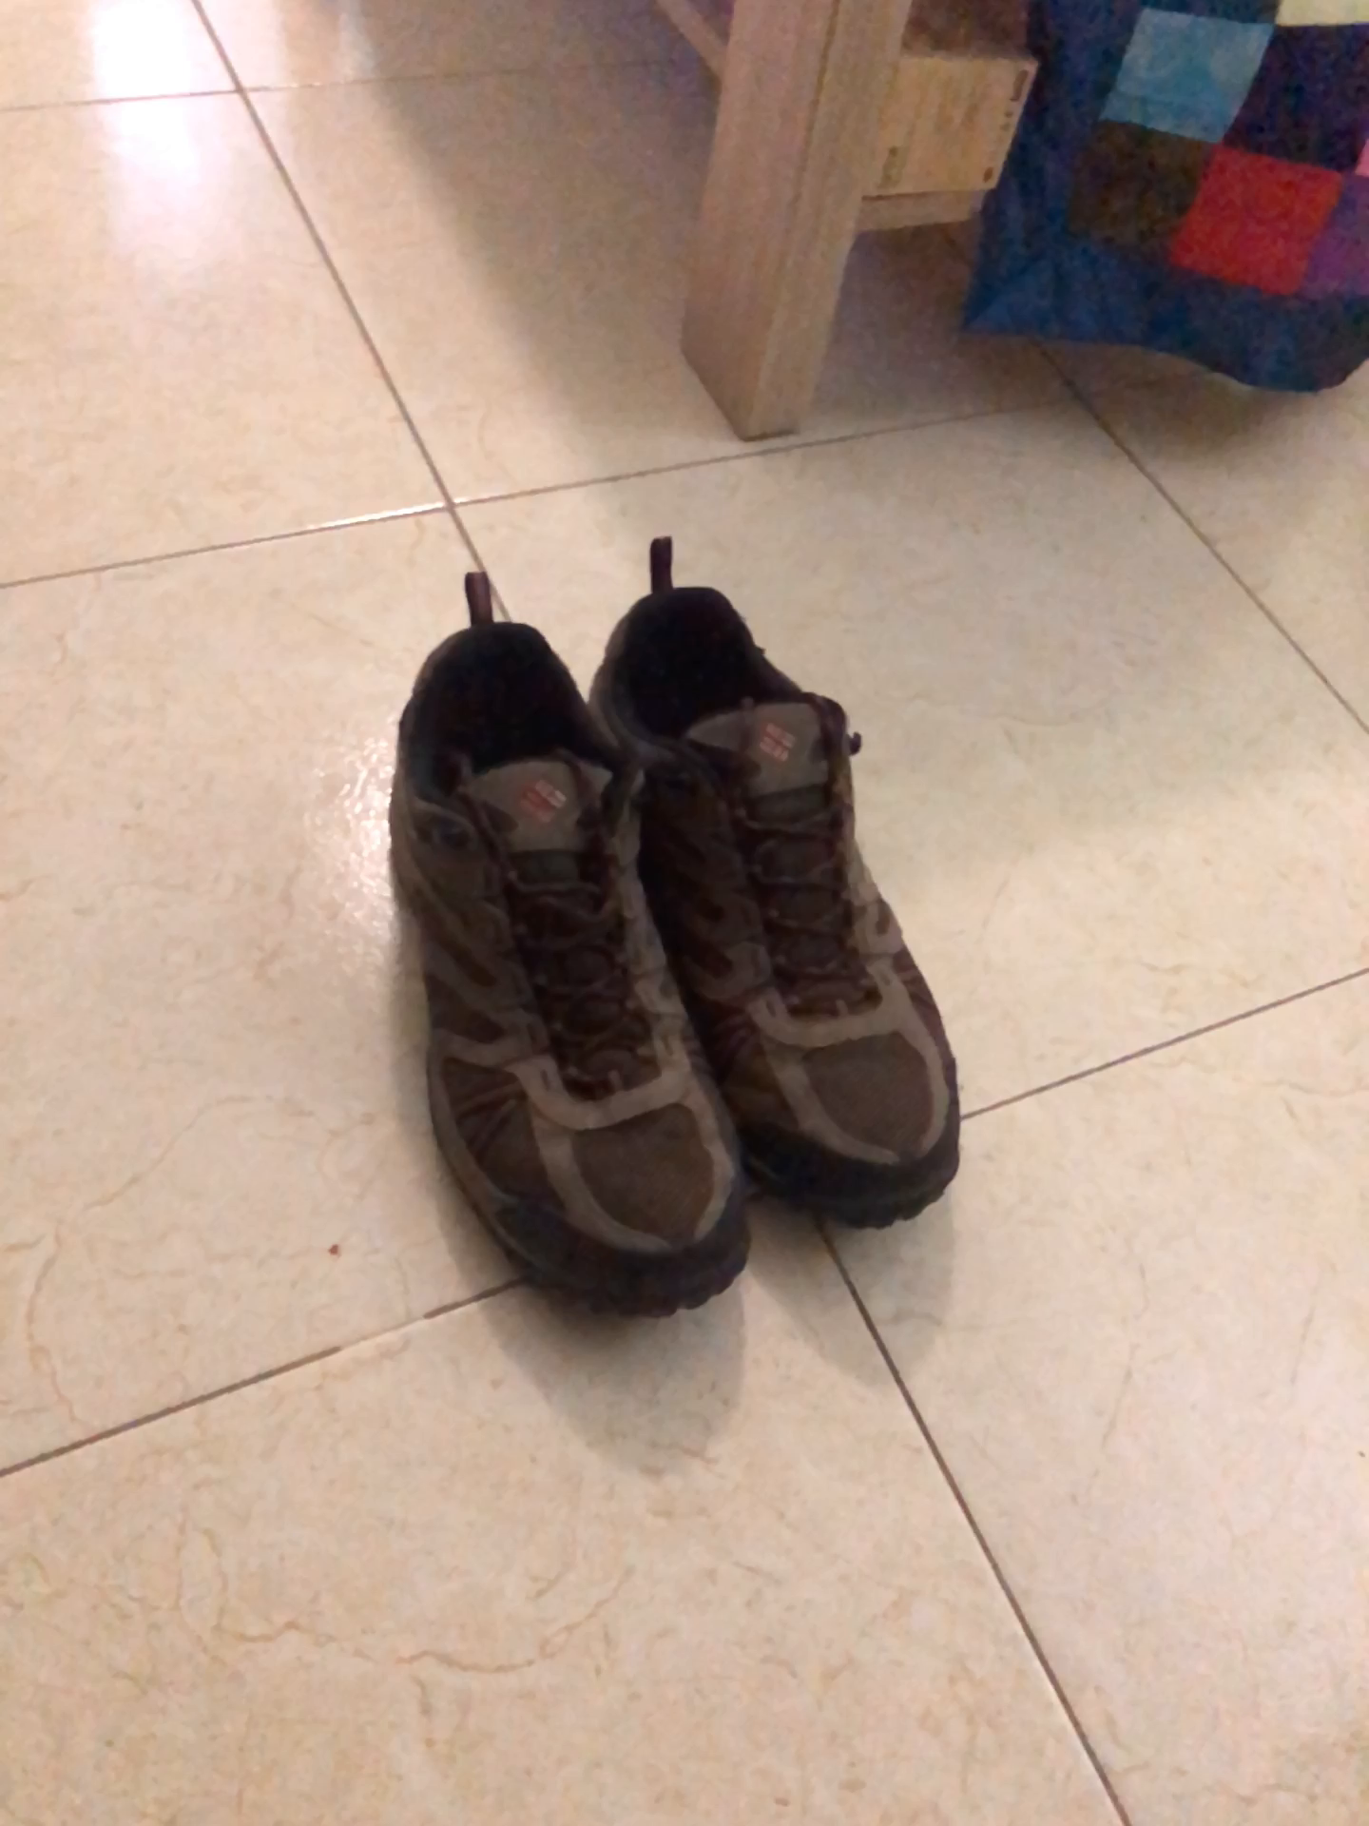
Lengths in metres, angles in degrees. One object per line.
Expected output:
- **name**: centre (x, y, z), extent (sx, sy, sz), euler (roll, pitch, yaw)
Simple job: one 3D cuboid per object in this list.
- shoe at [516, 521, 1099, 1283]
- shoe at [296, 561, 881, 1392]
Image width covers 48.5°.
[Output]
- **shoe**: centre (0.035, -0.017, 0.678), extent (0.120, 0.120, 0.311), euler (-14, 58, -19)
- **shoe**: centre (-0.055, 0.011, 0.623), extent (0.130, 0.110, 0.311), euler (-13, 58, -19)
